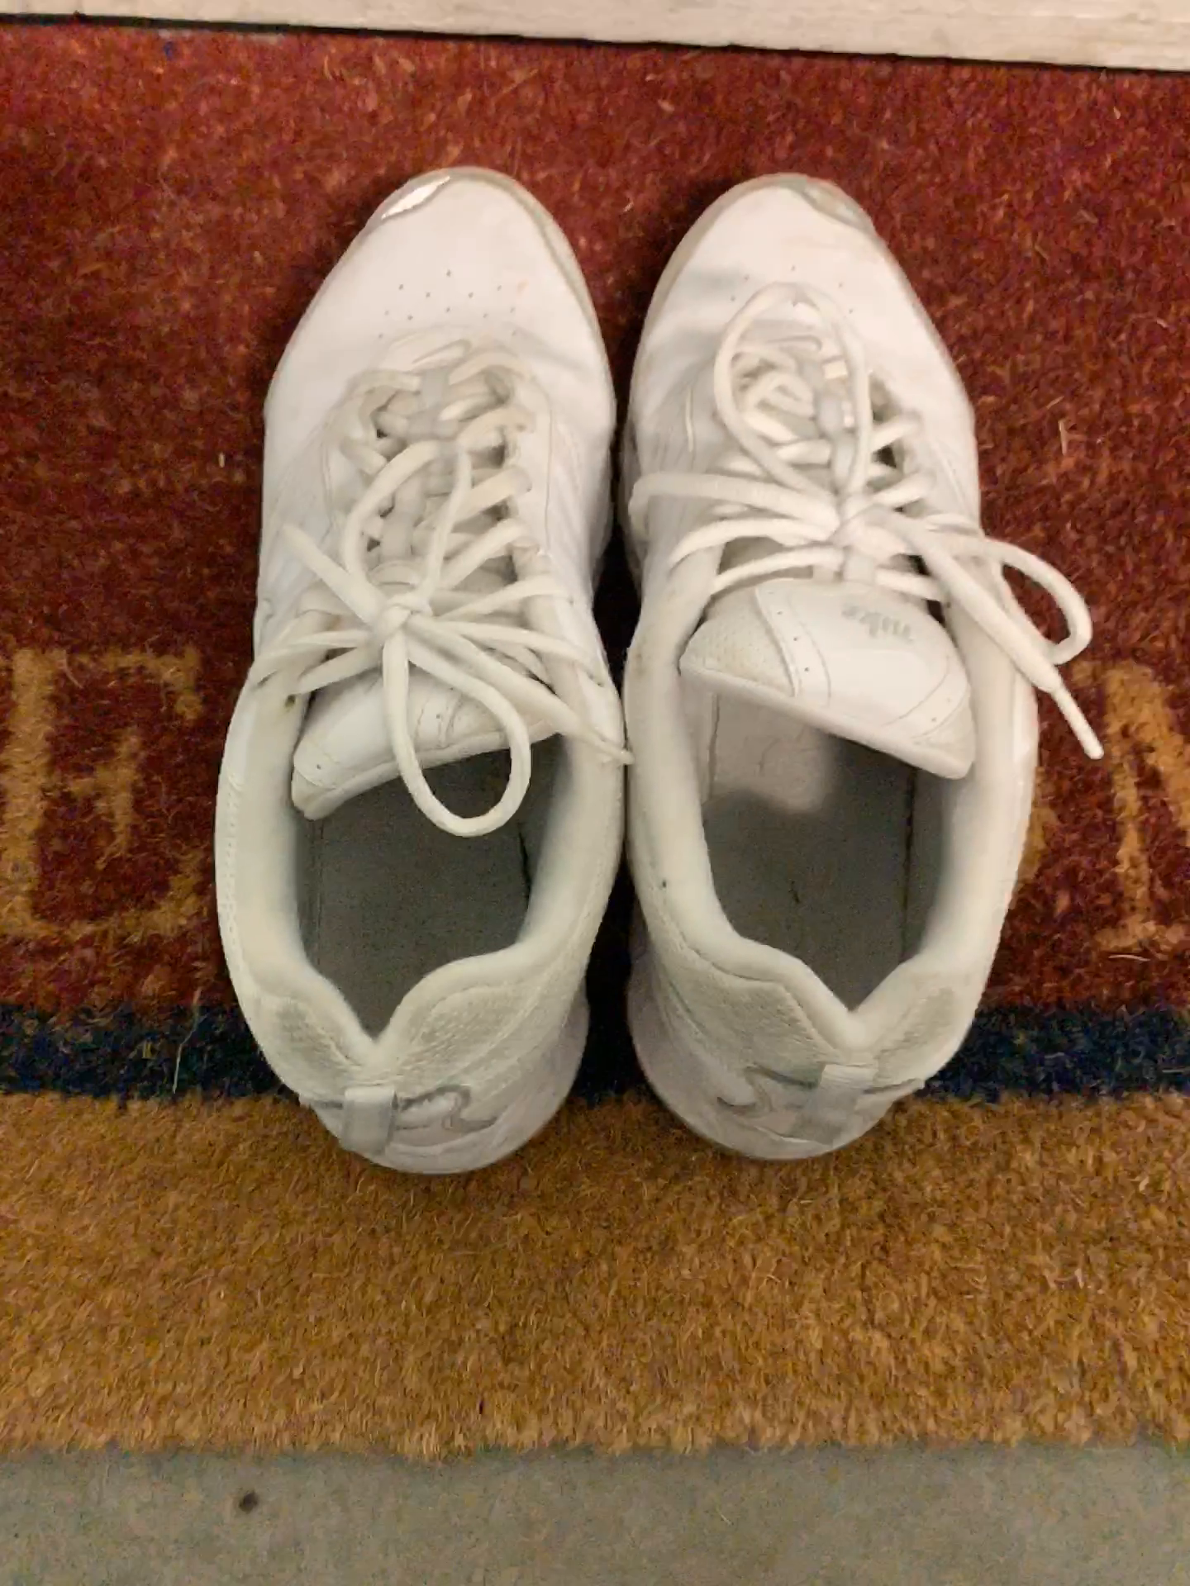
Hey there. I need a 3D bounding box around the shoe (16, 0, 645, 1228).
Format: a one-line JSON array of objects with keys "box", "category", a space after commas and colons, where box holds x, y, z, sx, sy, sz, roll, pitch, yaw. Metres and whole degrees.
[{"box": [-0.048, -0.057, 0.315, 0.110, 0.130, 0.301, 1, 78, -2], "category": "shoe"}]

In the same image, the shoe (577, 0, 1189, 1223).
[{"box": [0.059, -0.056, 0.319, 0.120, 0.130, 0.301, 1, 78, -2], "category": "shoe"}]
